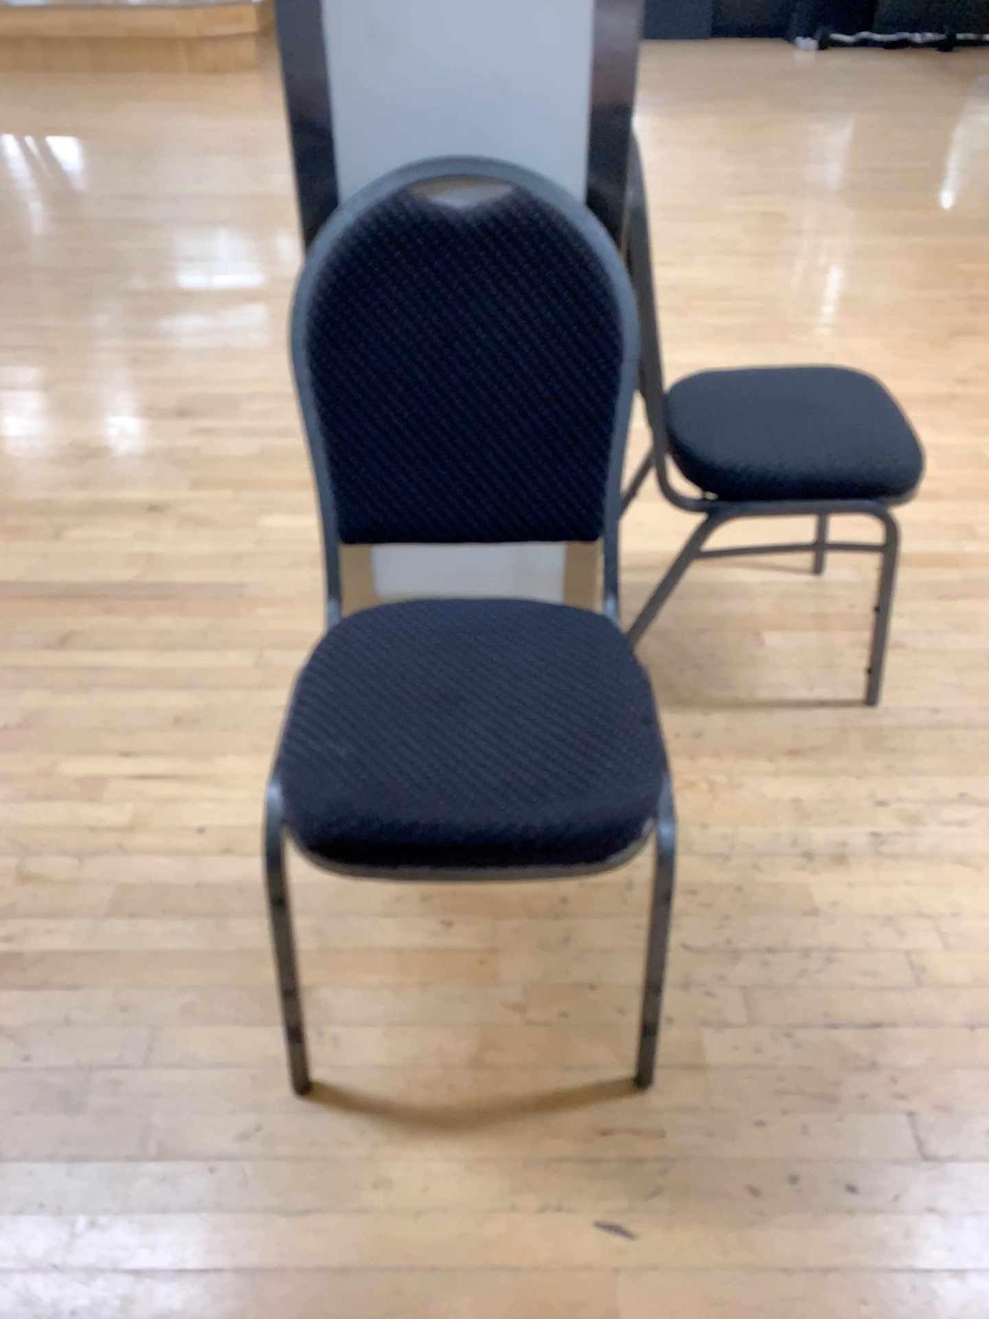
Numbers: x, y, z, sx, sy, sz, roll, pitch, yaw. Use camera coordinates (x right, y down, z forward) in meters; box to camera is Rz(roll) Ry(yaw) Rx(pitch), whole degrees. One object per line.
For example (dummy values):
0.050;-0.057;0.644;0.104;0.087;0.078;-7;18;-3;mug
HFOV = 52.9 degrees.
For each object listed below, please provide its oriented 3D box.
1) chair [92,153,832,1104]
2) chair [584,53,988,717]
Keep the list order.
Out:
-0.017;-0.001;1.125;0.461;0.921;0.556;0;39;1;chair
0.454;-0.413;1.617;0.553;0.921;0.464;2;39;2;chair
